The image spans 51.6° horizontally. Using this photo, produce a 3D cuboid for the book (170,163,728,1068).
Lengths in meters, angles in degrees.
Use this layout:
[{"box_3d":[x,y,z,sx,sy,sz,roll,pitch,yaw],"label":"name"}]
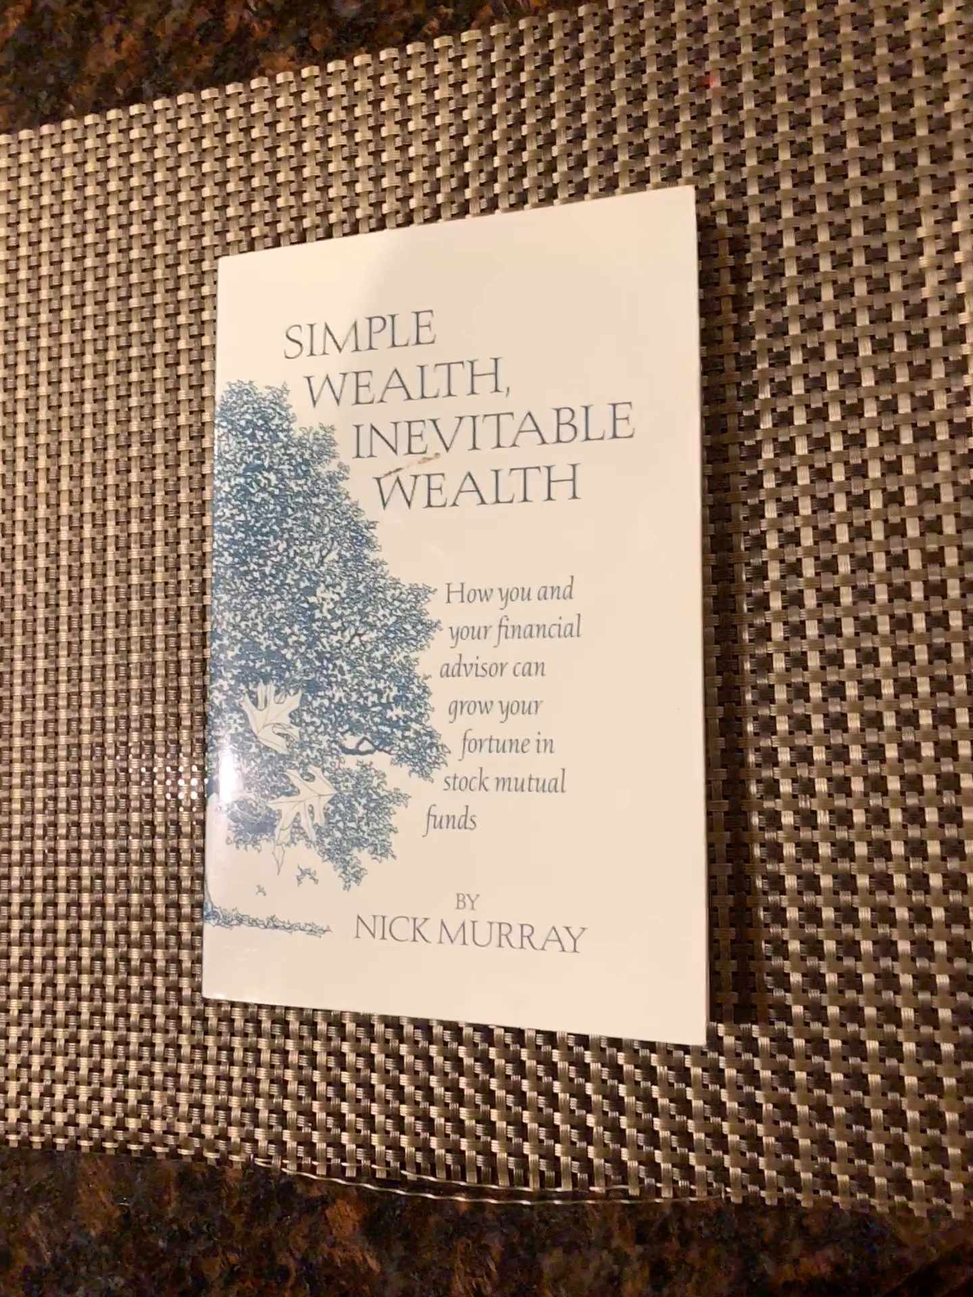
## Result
[{"box_3d":[-0.012,-0.011,0.265,0.141,0.021,0.210,1,87,18],"label":"book"}]
